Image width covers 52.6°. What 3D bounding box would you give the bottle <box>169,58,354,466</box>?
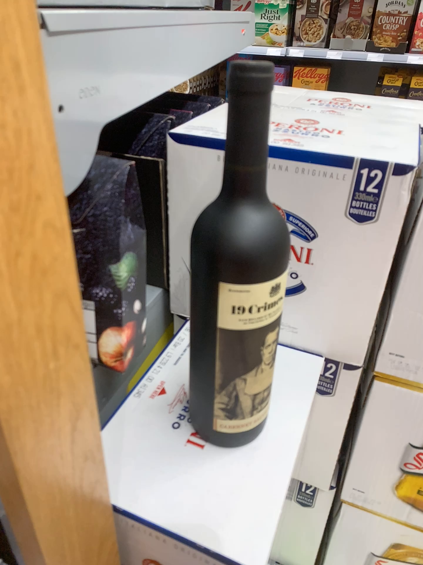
[{"bbox_3d":[0.026,-0.002,0.322,0.075,0.288,0.078,1,31,-1],"label":"bottle"}]
